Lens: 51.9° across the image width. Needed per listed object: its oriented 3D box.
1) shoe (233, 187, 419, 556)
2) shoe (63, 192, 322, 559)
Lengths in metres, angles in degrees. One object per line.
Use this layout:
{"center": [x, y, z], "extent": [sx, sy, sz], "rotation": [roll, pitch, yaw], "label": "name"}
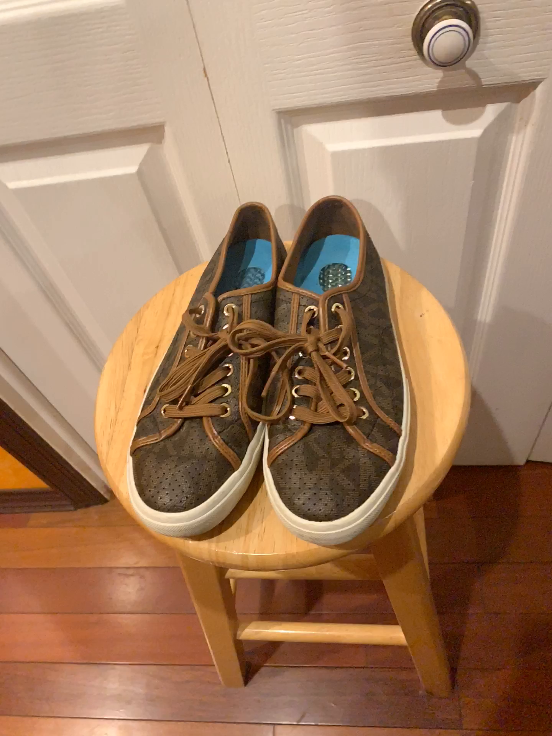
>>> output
{"center": [0.045, -0.011, 0.410], "extent": [0.100, 0.080, 0.261], "rotation": [-1, 55, 11], "label": "shoe"}
{"center": [-0.041, -0.009, 0.423], "extent": [0.100, 0.090, 0.261], "rotation": [5, 57, 15], "label": "shoe"}
